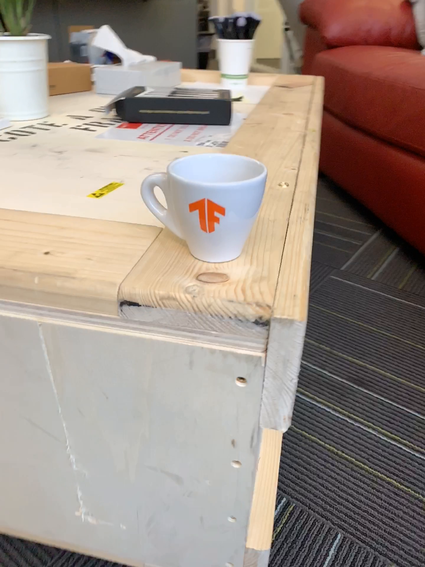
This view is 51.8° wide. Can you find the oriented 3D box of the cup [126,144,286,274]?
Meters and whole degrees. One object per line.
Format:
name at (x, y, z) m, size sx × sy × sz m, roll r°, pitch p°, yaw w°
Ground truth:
cup at (-0.002, -0.053, 0.297) m, size 0.090 × 0.060 × 0.060 m, roll 9°, pitch 32°, yaw 12°
